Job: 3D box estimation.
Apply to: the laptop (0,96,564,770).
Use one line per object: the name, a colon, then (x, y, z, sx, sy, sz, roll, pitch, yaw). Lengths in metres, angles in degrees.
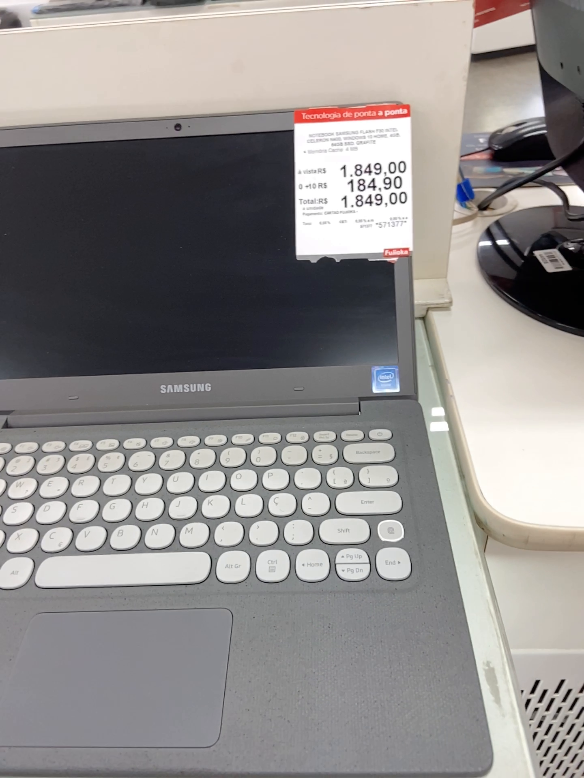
laptop: (-0.082, -0.021, 0.339, 0.319, 0.144, 0.366, -2, 41, 4)
